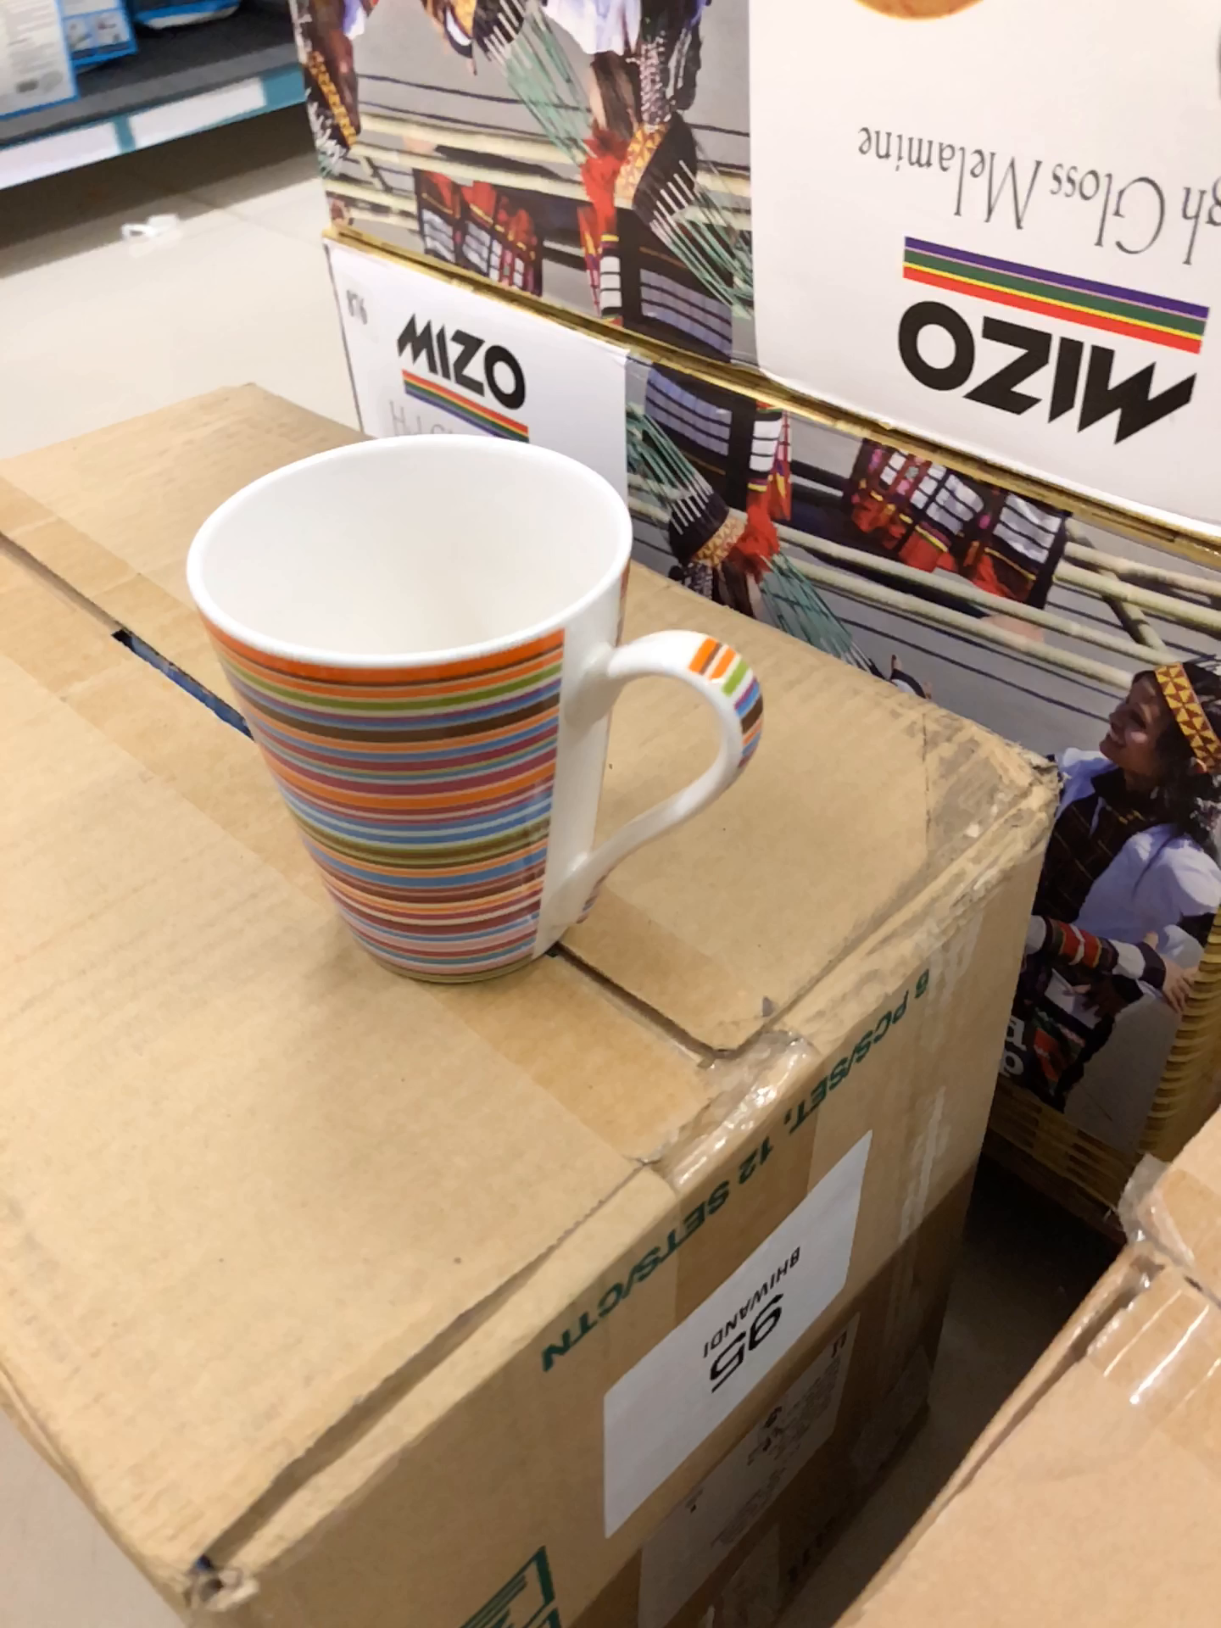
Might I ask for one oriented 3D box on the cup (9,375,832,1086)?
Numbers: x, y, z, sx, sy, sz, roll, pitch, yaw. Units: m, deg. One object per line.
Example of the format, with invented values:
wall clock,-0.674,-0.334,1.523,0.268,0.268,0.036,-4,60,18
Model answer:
cup,-0.032,-0.023,0.280,0.130,0.089,0.080,16,45,21
